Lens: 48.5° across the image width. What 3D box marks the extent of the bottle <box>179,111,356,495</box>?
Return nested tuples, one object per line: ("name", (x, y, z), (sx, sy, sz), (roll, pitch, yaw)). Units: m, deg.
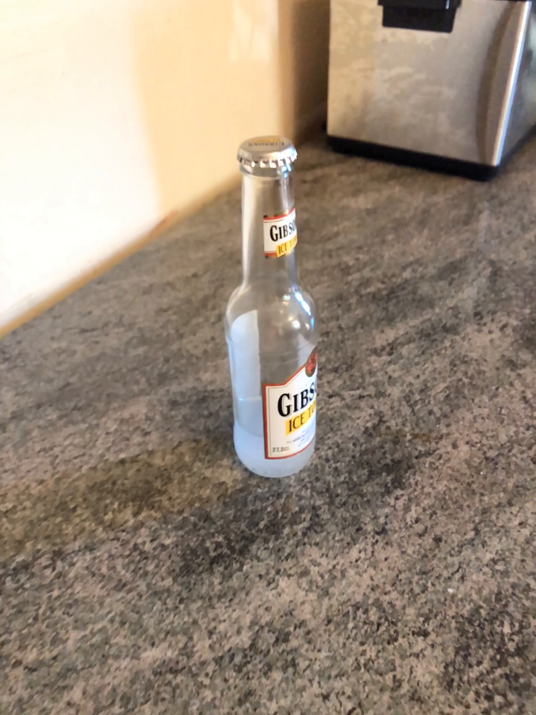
("bottle", (0.005, -0.023, 0.350), (0.060, 0.209, 0.070), (16, 41, 23))
